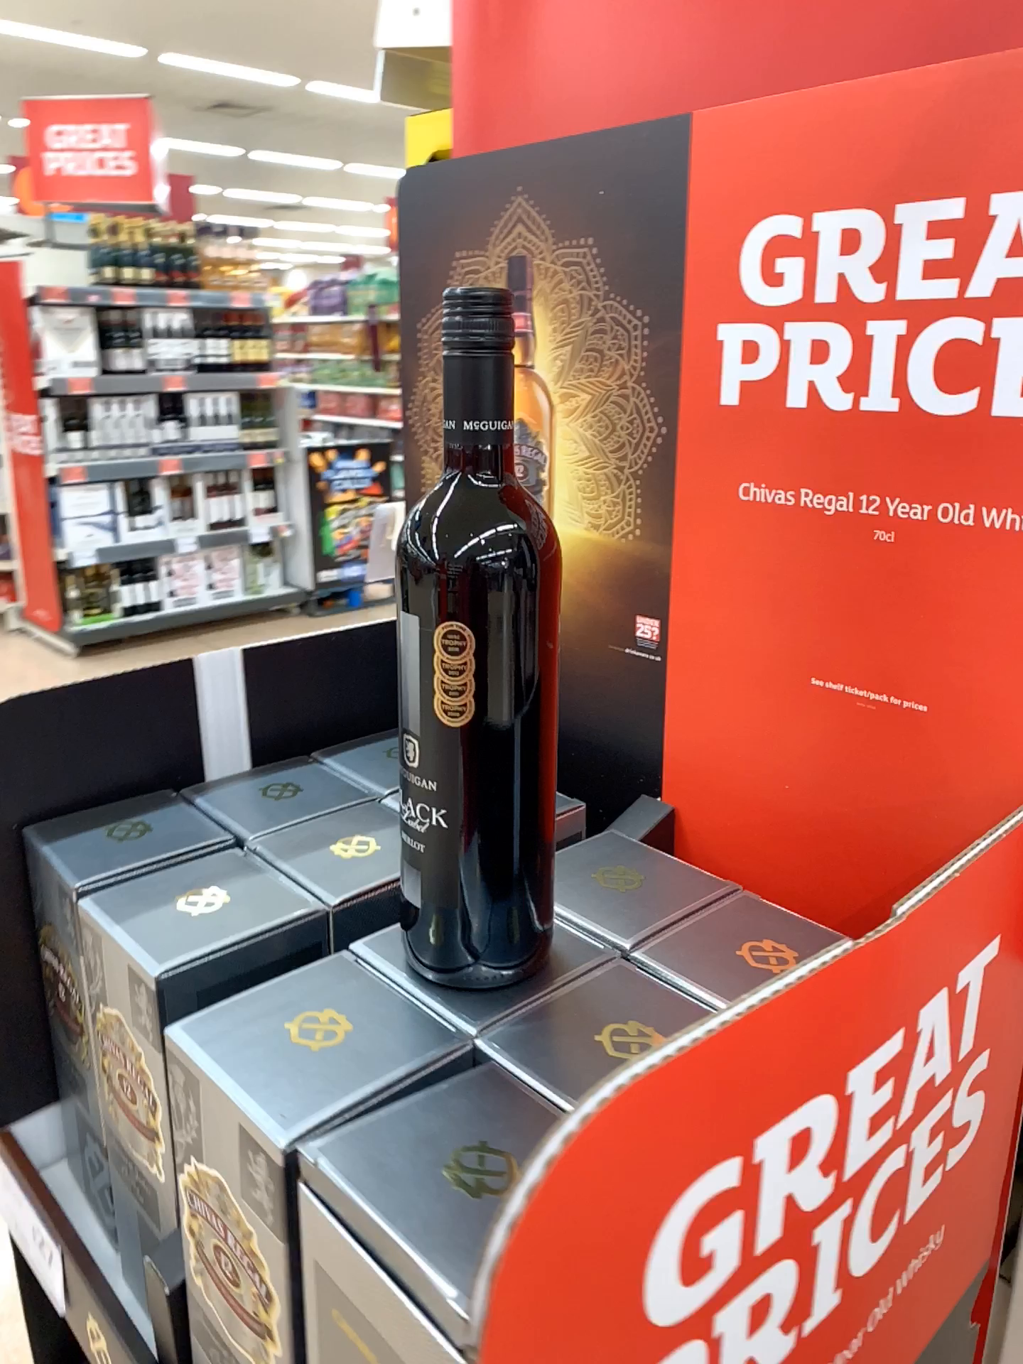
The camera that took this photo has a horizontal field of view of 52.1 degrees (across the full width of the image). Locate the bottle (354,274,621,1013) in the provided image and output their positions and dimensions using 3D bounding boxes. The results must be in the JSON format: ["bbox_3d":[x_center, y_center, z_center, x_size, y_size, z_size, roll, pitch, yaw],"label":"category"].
[{"bbox_3d":[-0.011,-0.015,0.443,0.080,0.288,0.070,-8,18,-26],"label":"bottle"}]
